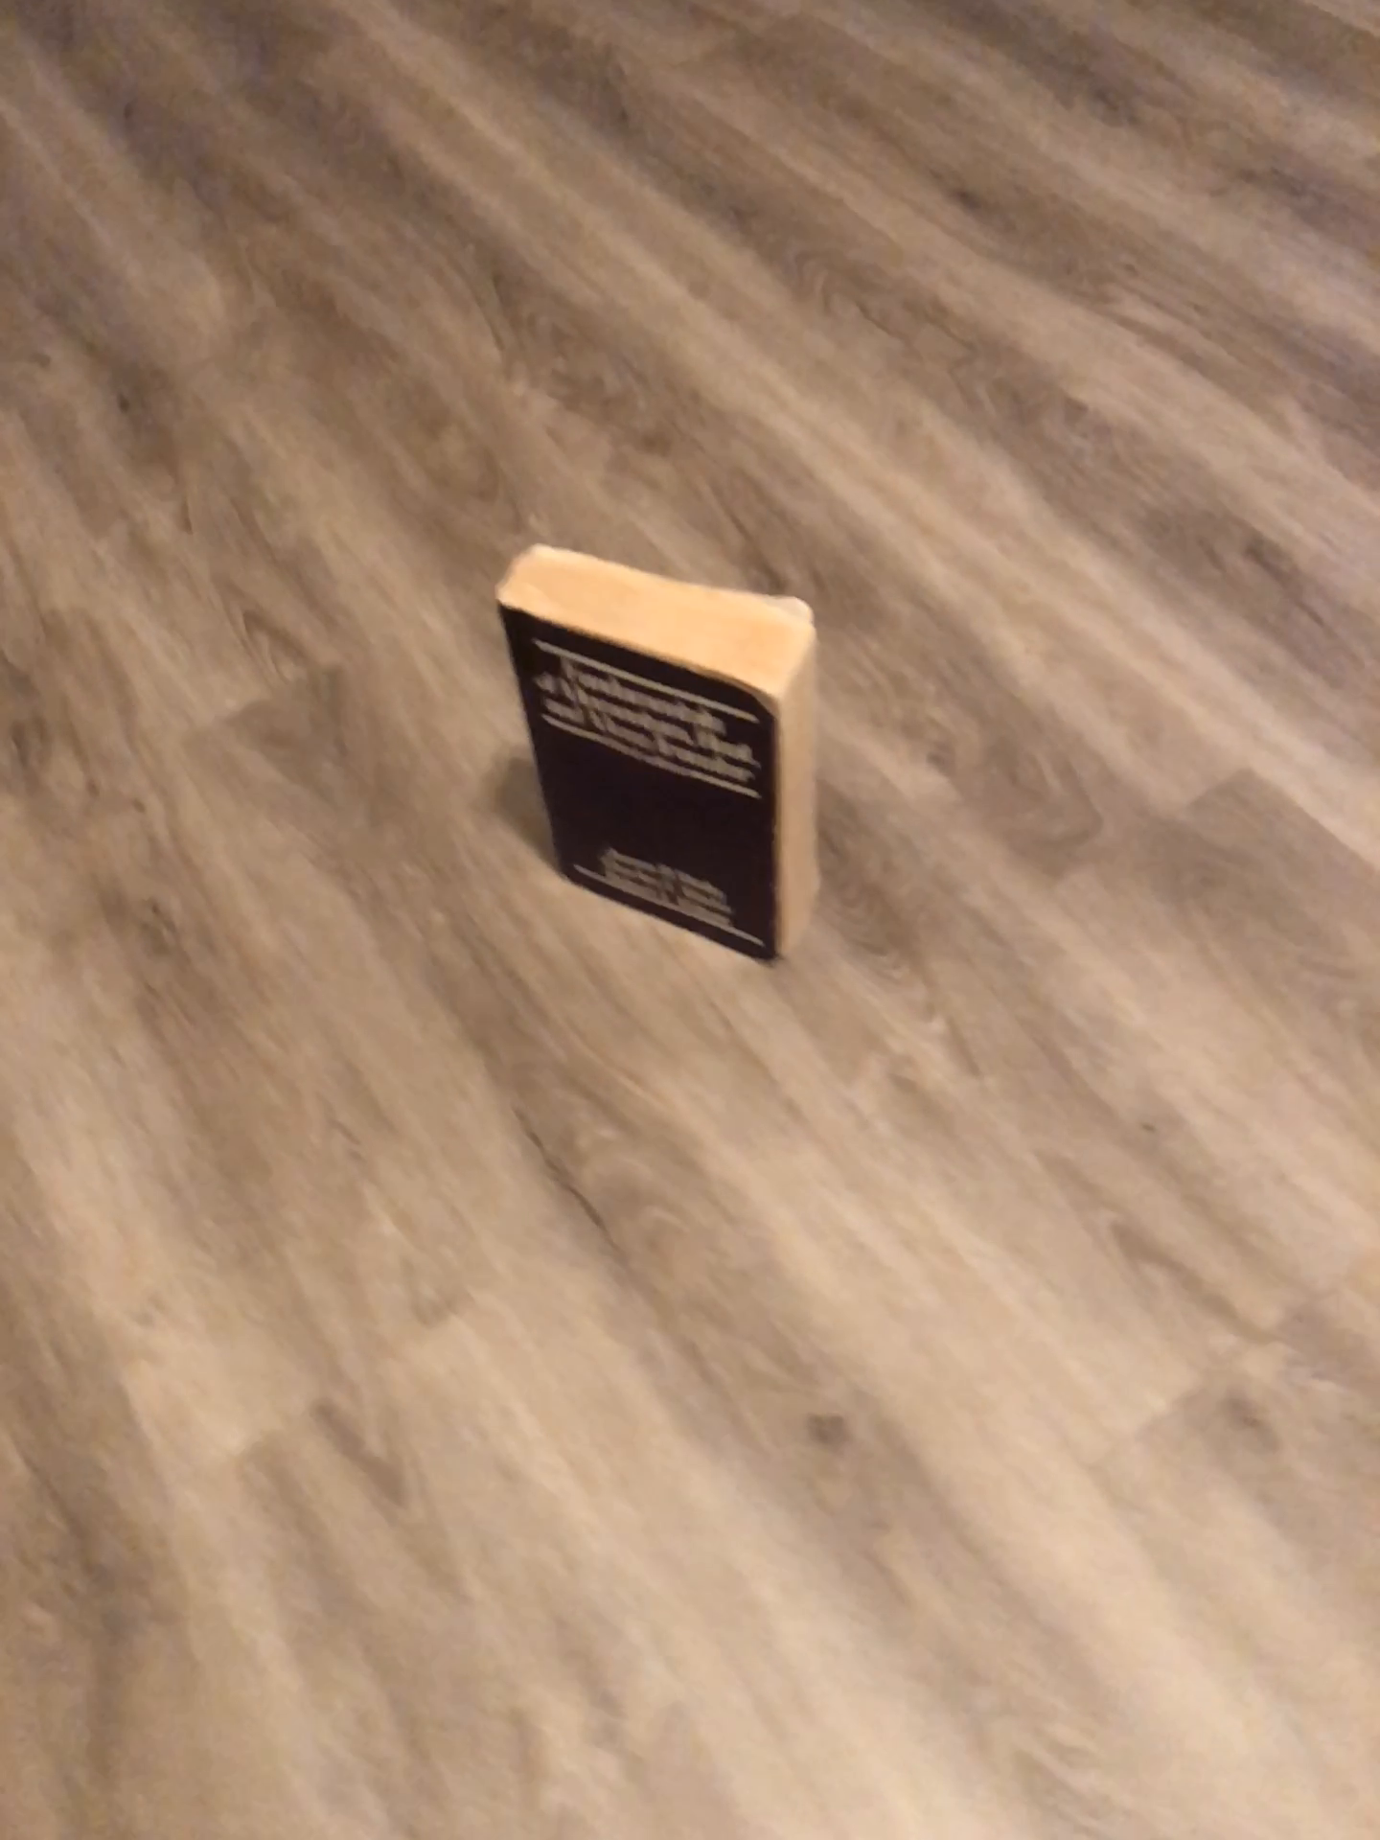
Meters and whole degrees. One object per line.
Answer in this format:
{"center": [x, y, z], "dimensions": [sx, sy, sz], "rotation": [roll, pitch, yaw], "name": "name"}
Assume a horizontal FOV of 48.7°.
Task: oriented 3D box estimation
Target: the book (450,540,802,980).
{"center": [-0.025, -0.077, 0.804], "dimensions": [0.155, 0.219, 0.060], "rotation": [18, 57, 17], "name": "book"}
